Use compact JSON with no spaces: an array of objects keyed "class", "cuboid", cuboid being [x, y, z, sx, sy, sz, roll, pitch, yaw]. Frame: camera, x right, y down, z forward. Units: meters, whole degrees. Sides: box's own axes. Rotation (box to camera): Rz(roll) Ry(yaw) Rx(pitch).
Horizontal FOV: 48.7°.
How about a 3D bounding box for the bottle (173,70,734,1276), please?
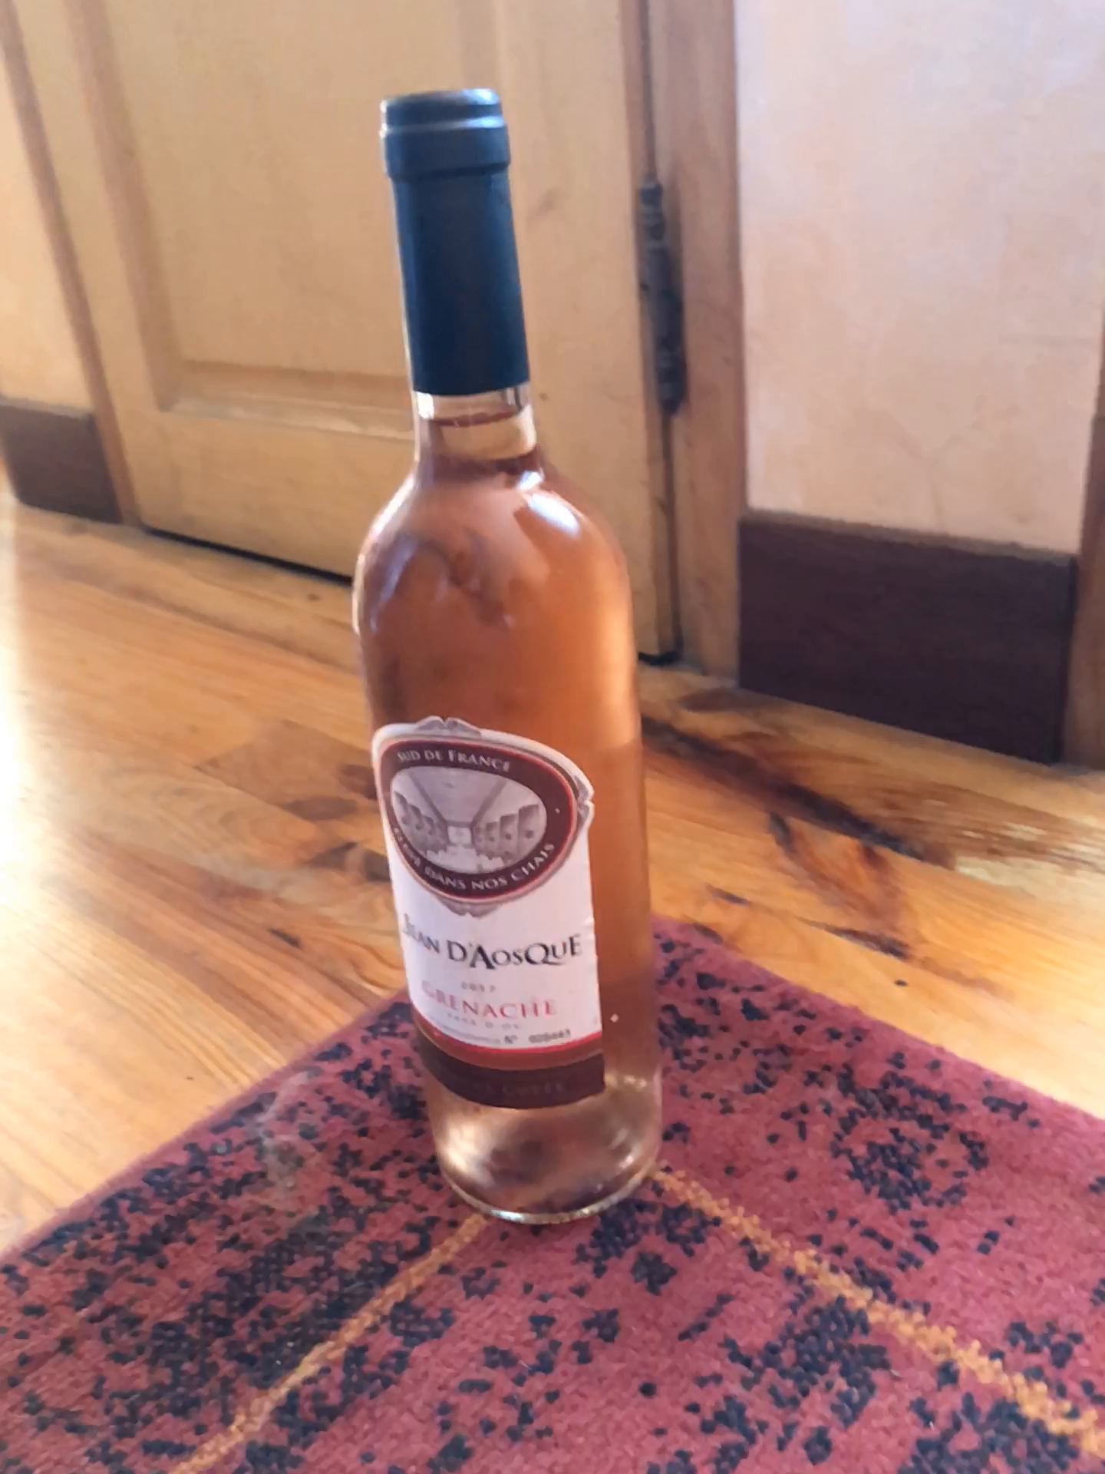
[{"class":"bottle","cuboid":[-0.007,-0.002,0.334,0.090,0.308,0.081,3,28,18]}]
